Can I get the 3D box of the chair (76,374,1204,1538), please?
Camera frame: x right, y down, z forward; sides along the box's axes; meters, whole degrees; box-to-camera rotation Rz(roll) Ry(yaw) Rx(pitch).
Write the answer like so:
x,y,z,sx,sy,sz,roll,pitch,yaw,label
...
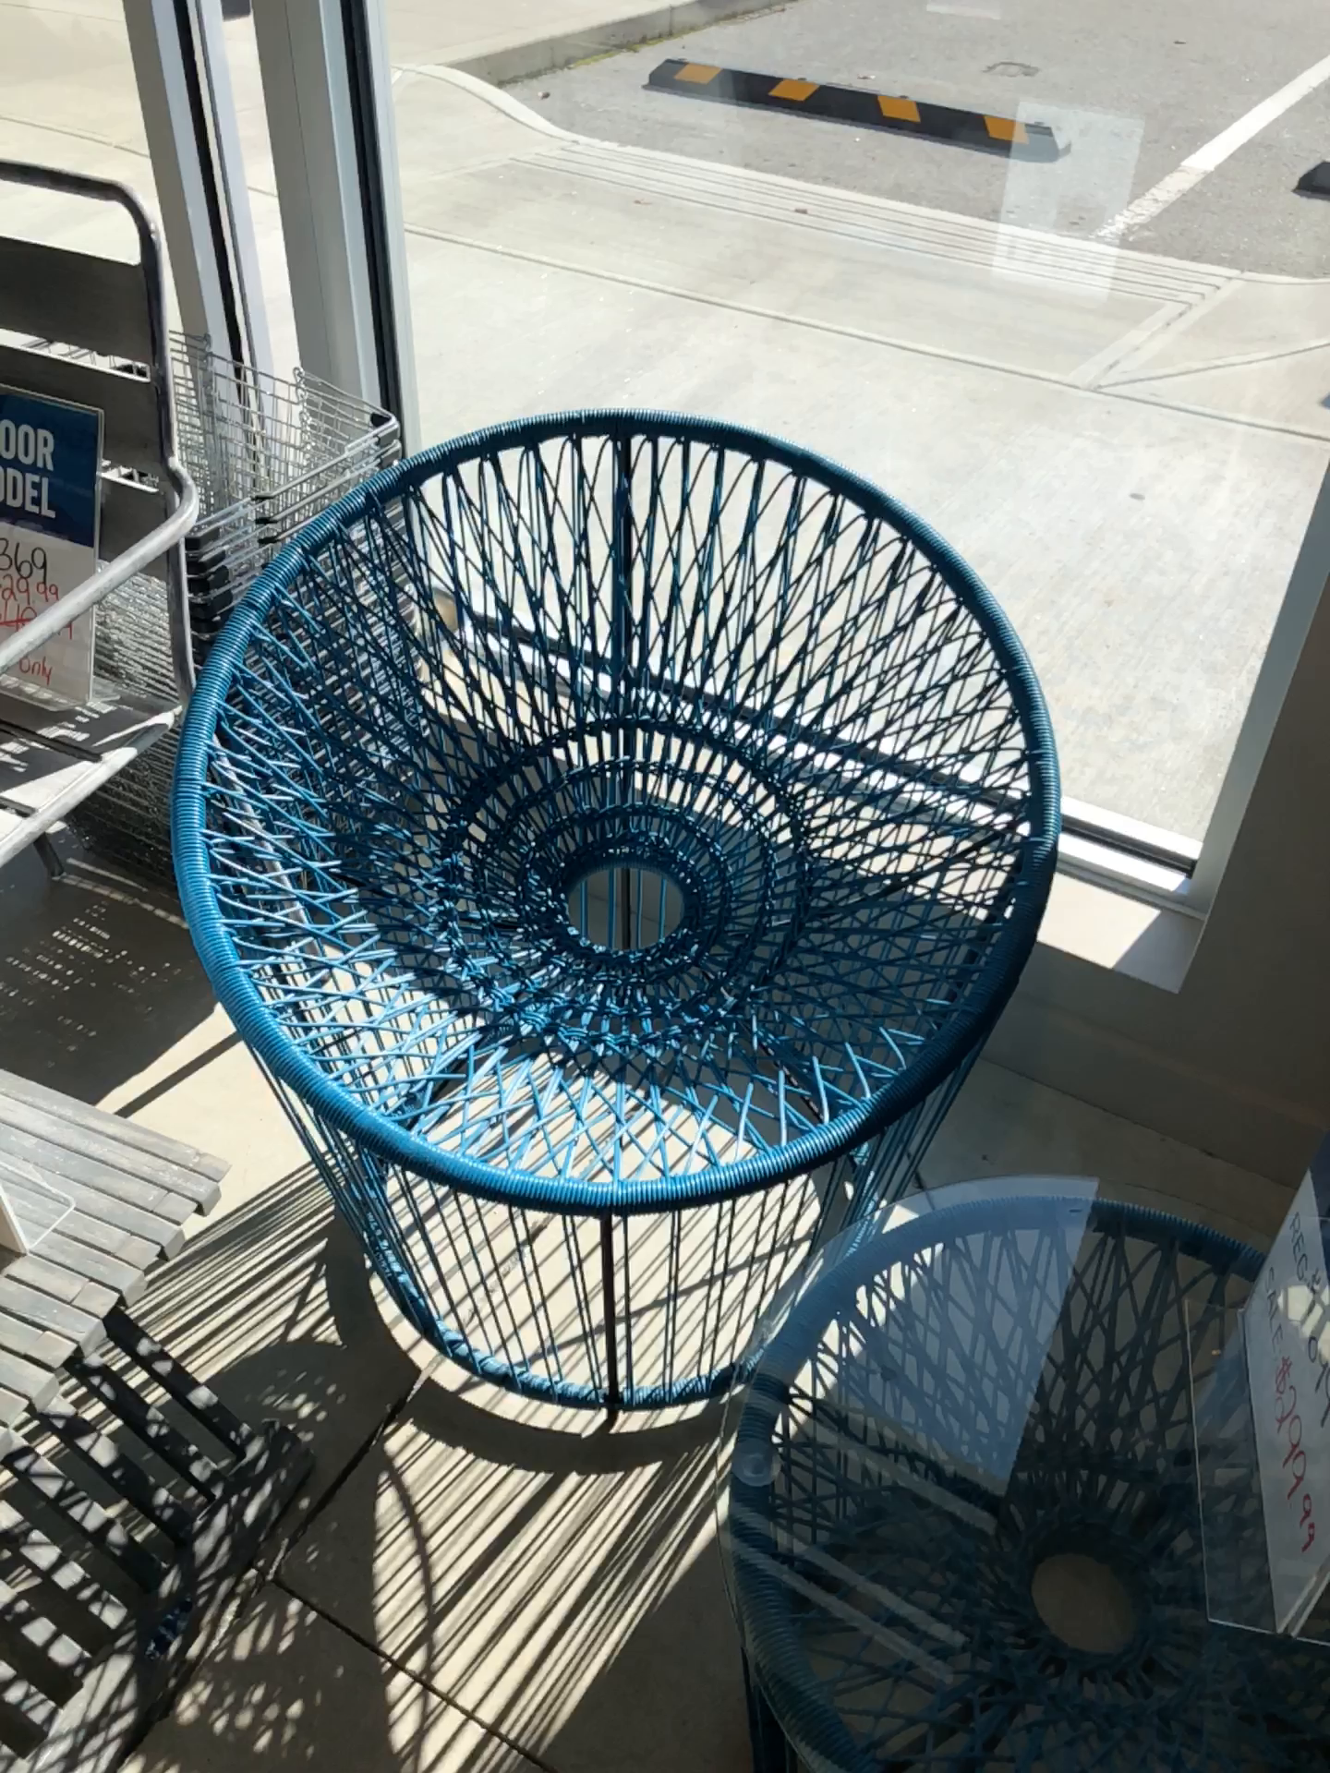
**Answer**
x,y,z,sx,sy,sz,roll,pitch,yaw,label
-0.037,0.091,1.497,0.720,0.993,0.665,-1,40,-3,chair
